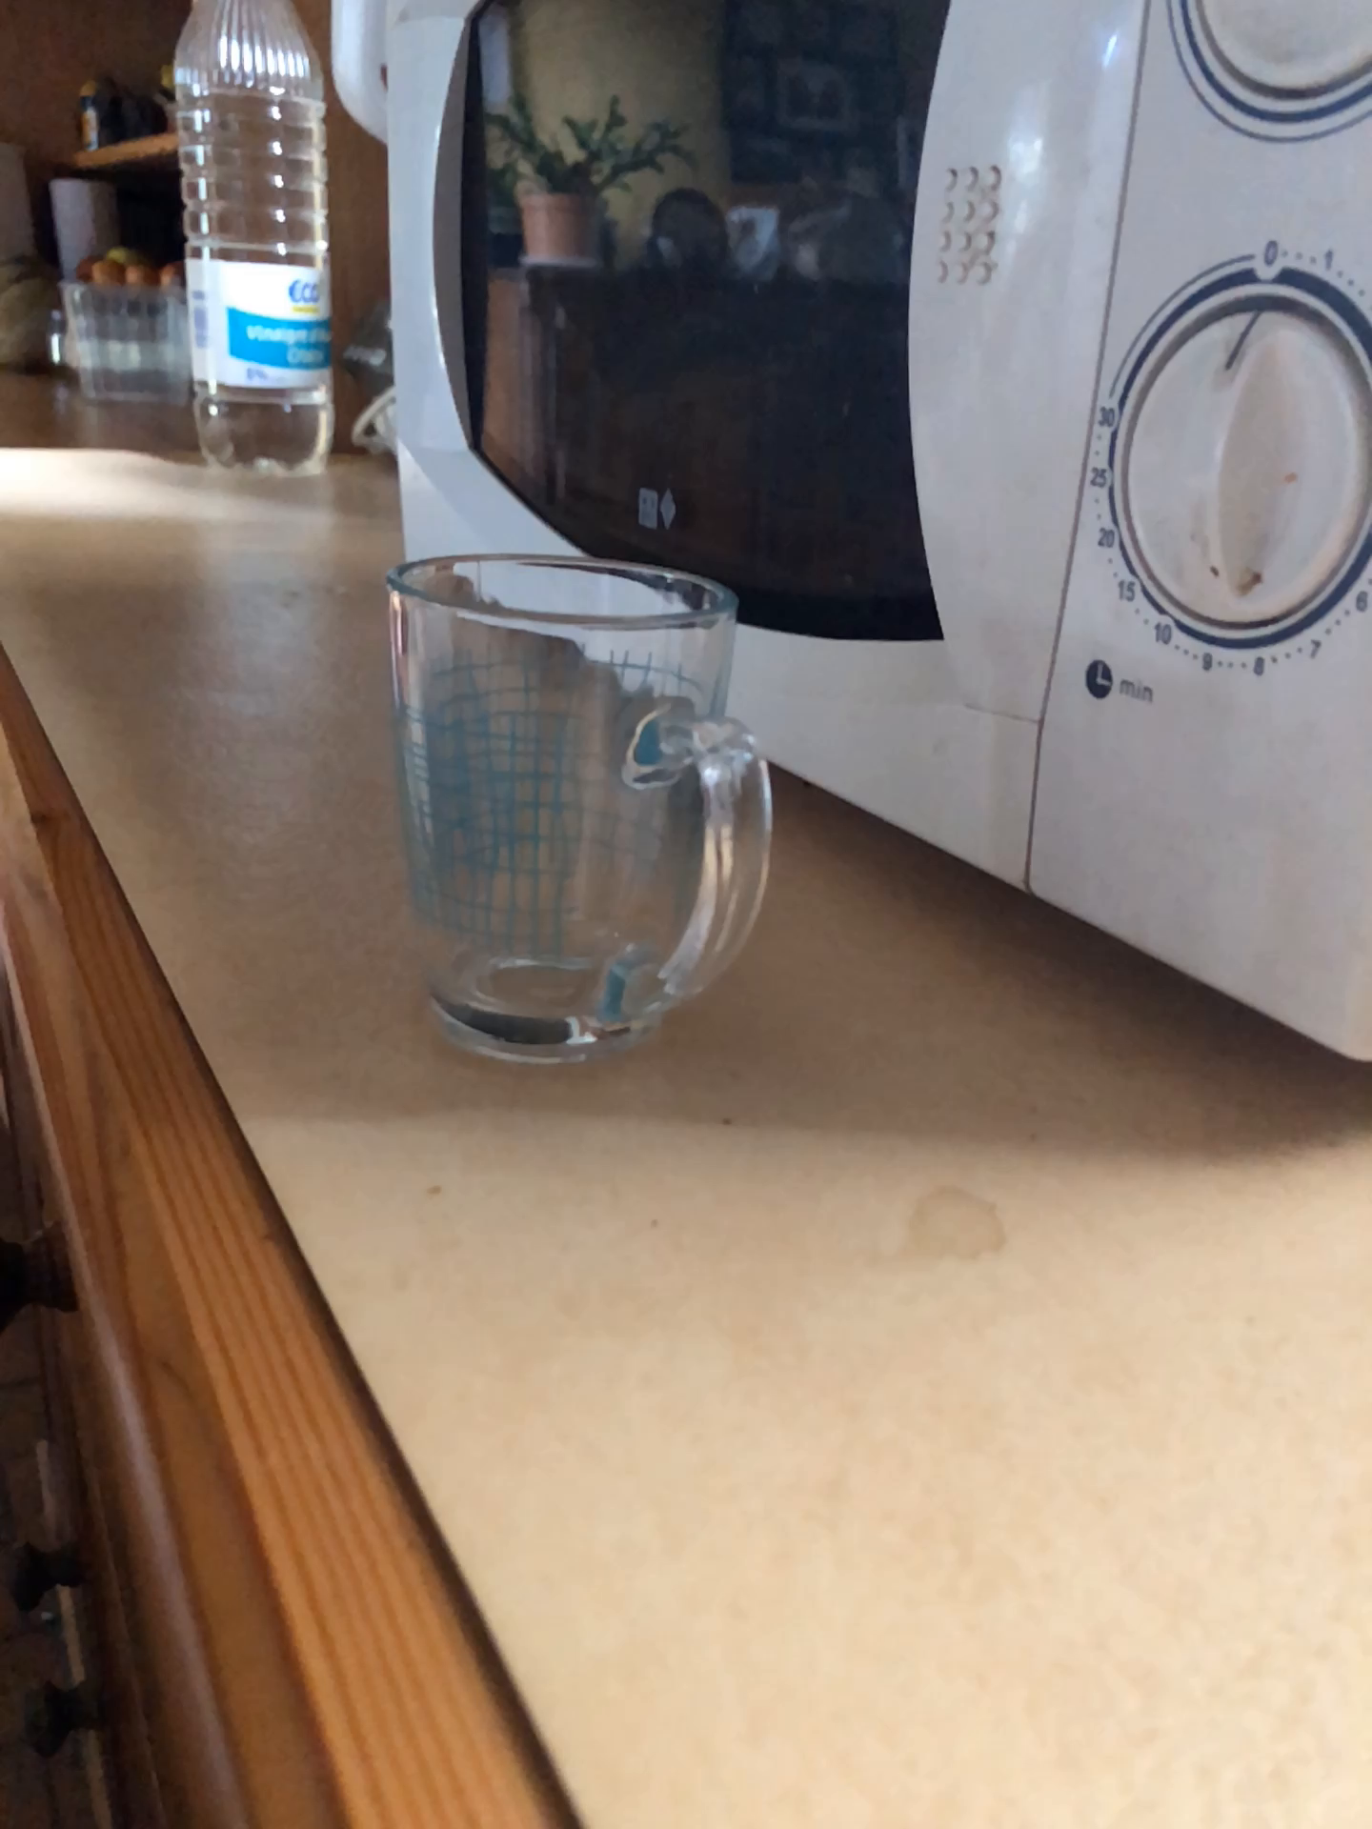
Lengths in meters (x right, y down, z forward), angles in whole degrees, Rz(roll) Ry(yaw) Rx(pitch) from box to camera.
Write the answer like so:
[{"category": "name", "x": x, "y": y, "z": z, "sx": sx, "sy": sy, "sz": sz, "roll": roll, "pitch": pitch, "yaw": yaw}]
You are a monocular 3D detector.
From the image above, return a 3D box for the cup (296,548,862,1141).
[{"category": "cup", "x": -0.022, "y": -0.018, "z": 0.251, "sx": 0.060, "sy": 0.070, "sz": 0.080, "roll": -9, "pitch": 25, "yaw": -29}]
